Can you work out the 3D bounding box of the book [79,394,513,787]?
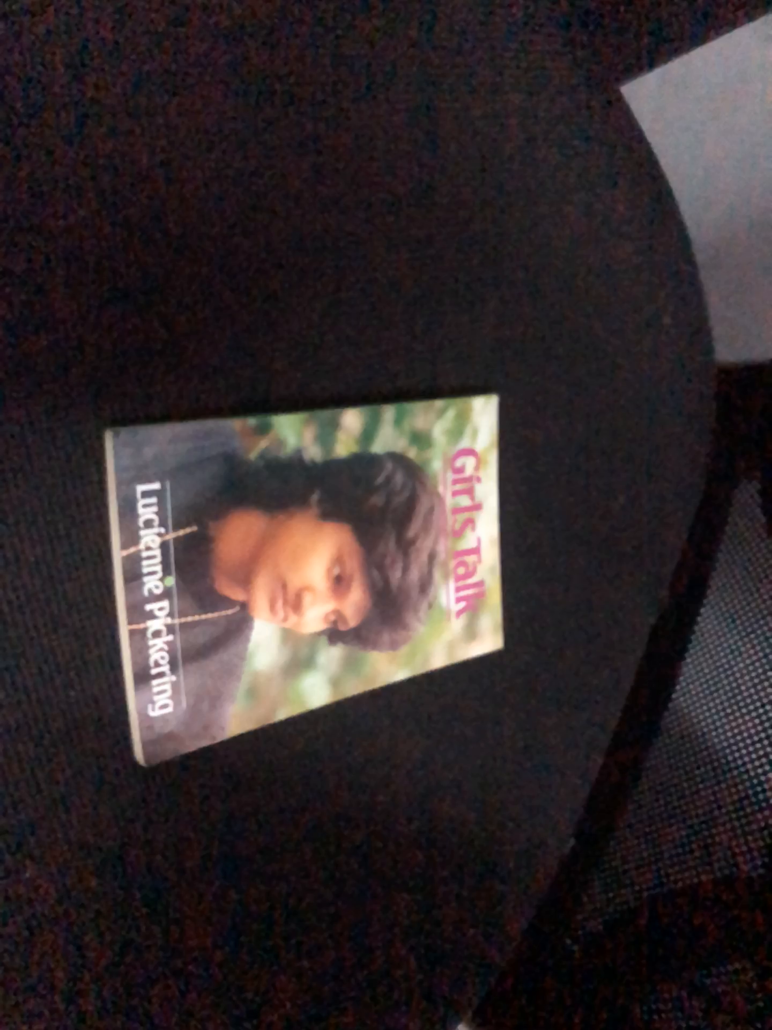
[{"bbox_3d":[-0.021,0.020,0.365,0.201,0.010,0.130,-10,104,-37],"label":"book"}]
